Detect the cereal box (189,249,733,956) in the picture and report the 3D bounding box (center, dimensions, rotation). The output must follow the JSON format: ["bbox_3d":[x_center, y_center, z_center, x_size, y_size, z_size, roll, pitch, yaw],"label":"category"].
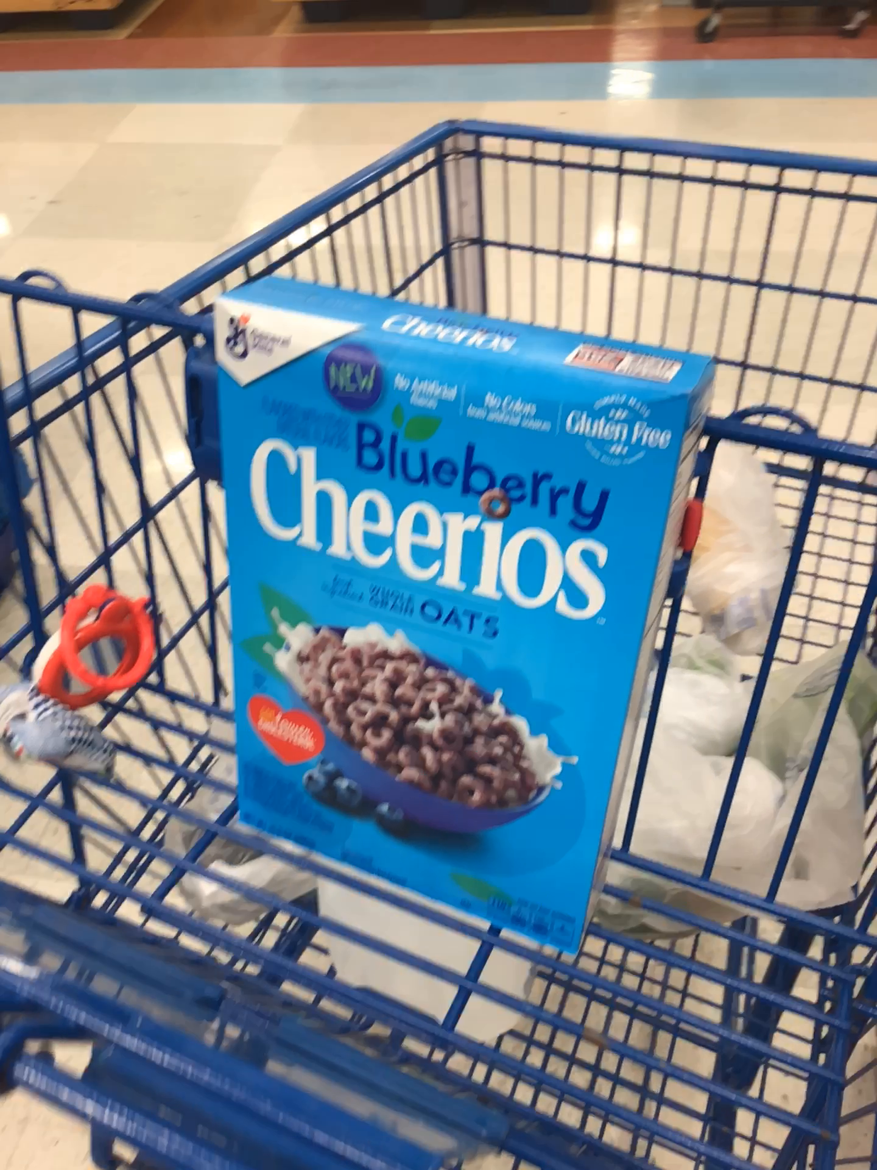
[{"bbox_3d":[-0.002,0.011,0.443,0.200,0.280,0.070,15,31,19],"label":"cereal box"}]
